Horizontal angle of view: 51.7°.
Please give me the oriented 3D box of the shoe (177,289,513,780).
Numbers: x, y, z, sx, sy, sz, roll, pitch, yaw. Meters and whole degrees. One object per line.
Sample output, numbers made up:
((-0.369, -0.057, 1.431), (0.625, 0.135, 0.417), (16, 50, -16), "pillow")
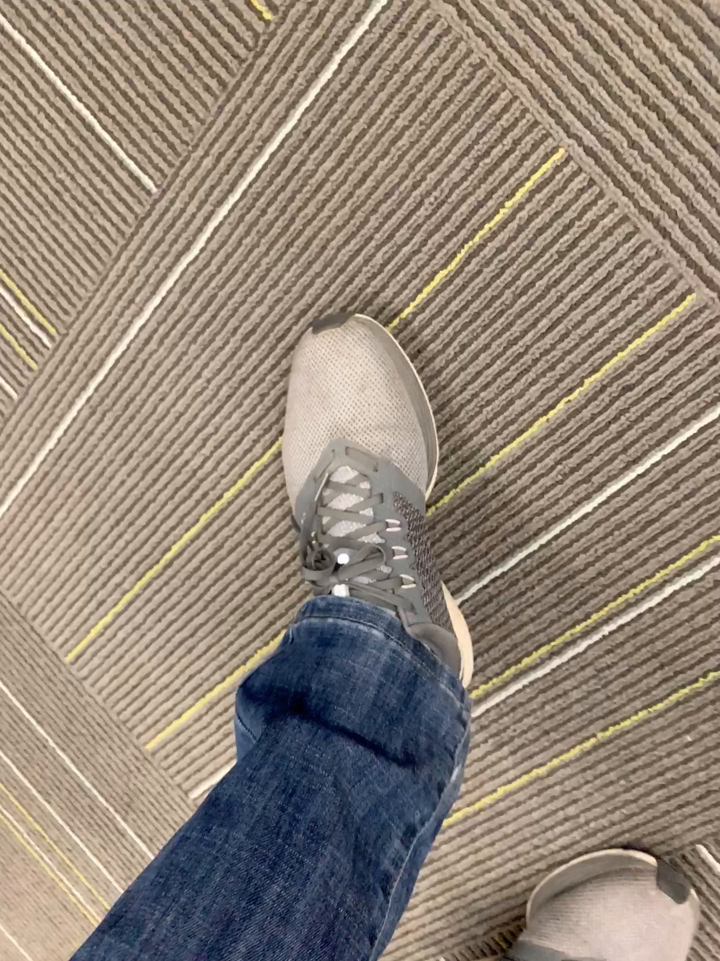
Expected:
((0.000, 0.043, 0.517), (0.132, 0.093, 0.313), (-10, 103, 25), "shoe")

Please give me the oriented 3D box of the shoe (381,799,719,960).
((0.157, 0.409, 0.588), (0.128, 0.093, 0.301), (36, 117, 7), "shoe")
